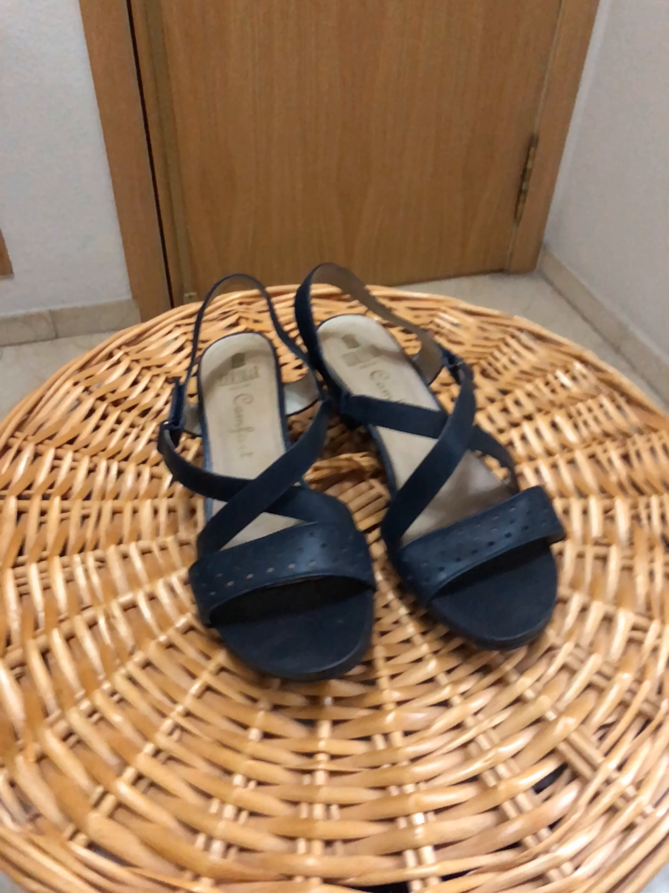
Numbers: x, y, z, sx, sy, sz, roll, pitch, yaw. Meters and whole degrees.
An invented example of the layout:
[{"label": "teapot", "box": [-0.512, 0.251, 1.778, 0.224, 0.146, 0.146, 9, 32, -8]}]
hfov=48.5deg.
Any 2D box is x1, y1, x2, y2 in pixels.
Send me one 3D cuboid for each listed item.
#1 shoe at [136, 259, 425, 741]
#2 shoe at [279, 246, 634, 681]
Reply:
[{"label": "shoe", "box": [-0.037, 0.023, 0.431, 0.100, 0.092, 0.248, -15, 60, -4]}, {"label": "shoe", "box": [0.052, -0.004, 0.450, 0.090, 0.088, 0.249, -15, 54, -18]}]
